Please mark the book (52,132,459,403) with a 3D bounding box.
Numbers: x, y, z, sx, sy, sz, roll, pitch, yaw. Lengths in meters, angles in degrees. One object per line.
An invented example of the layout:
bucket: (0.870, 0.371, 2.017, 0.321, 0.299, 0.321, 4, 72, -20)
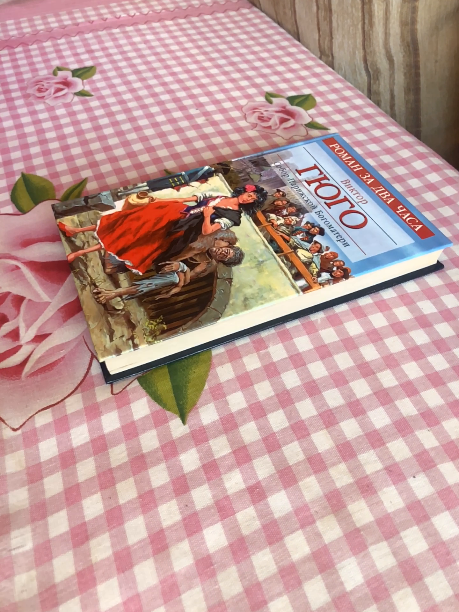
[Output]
book: (0.011, -0.039, 0.310, 0.207, 0.027, 0.137, -18, 50, -14)
